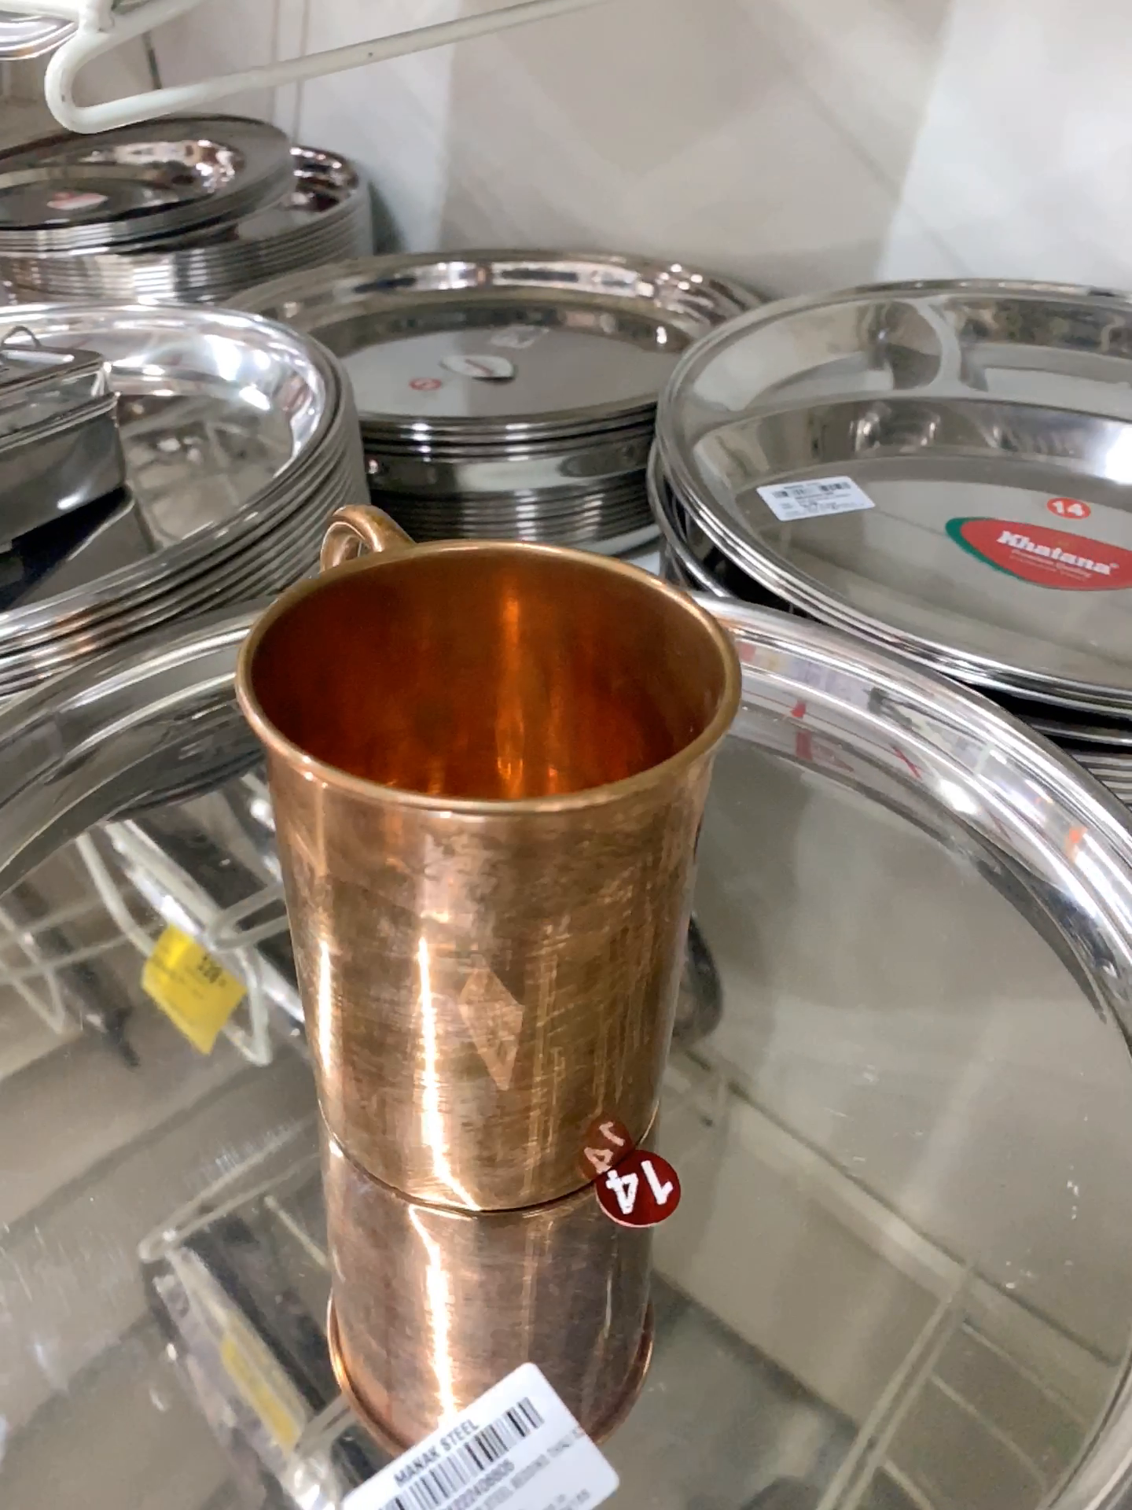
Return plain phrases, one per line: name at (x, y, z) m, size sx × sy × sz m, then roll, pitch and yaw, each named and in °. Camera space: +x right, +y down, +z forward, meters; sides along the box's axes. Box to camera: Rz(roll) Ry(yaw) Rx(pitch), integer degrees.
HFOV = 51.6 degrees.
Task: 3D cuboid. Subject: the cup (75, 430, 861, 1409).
cup at (-0.024, 0.023, 0.234) m, size 0.080 × 0.119 × 0.130 m, roll -22°, pitch 43°, yaw -24°
